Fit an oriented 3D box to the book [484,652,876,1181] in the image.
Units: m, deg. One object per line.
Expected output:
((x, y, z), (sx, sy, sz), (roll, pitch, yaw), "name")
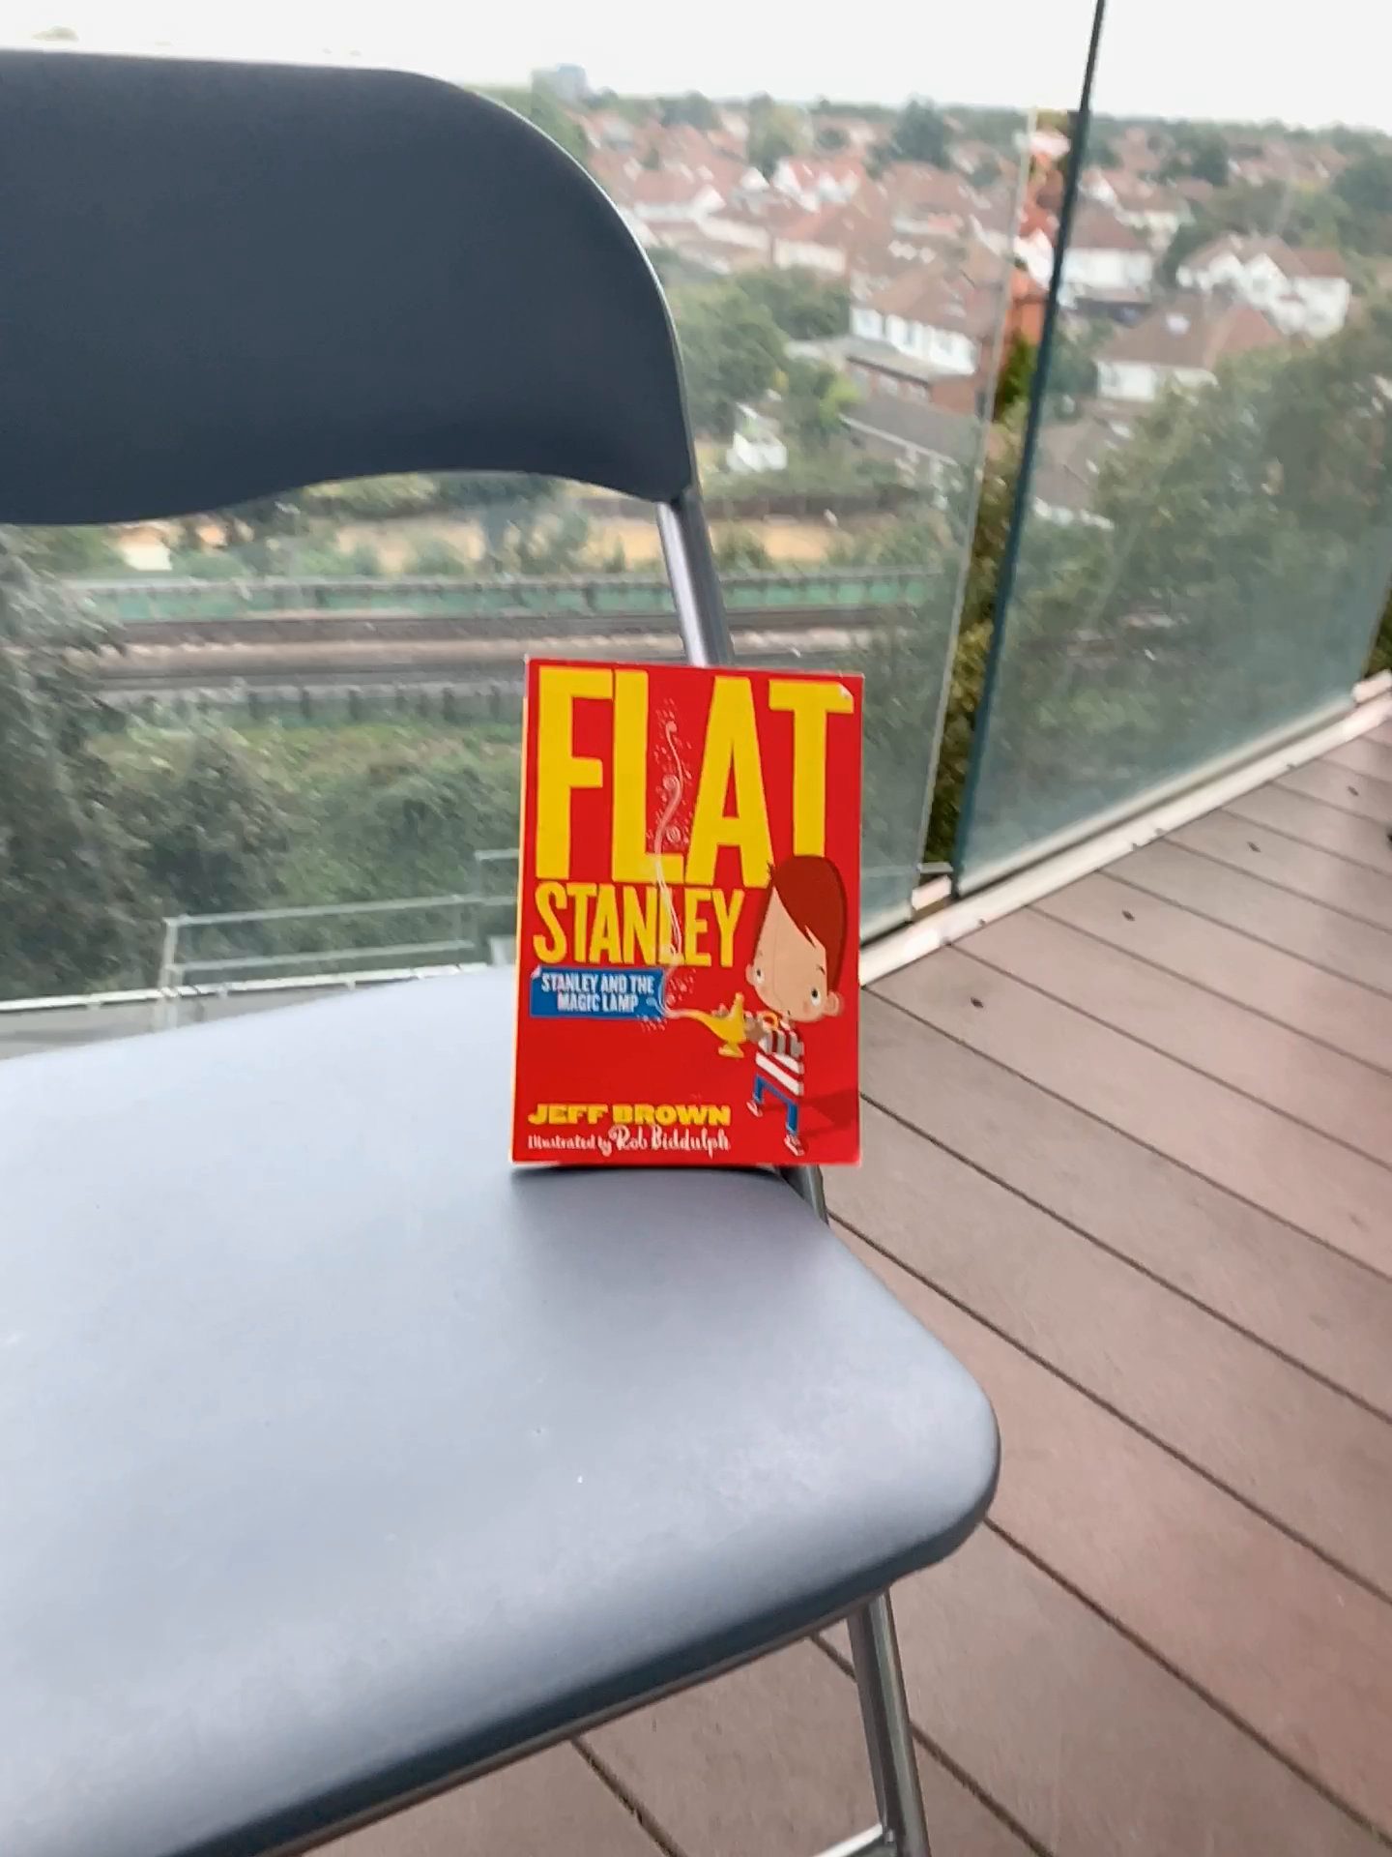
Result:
((-0.005, -0.004, 0.527), (0.140, 0.190, 0.020), (1, -5, -4), "book")
